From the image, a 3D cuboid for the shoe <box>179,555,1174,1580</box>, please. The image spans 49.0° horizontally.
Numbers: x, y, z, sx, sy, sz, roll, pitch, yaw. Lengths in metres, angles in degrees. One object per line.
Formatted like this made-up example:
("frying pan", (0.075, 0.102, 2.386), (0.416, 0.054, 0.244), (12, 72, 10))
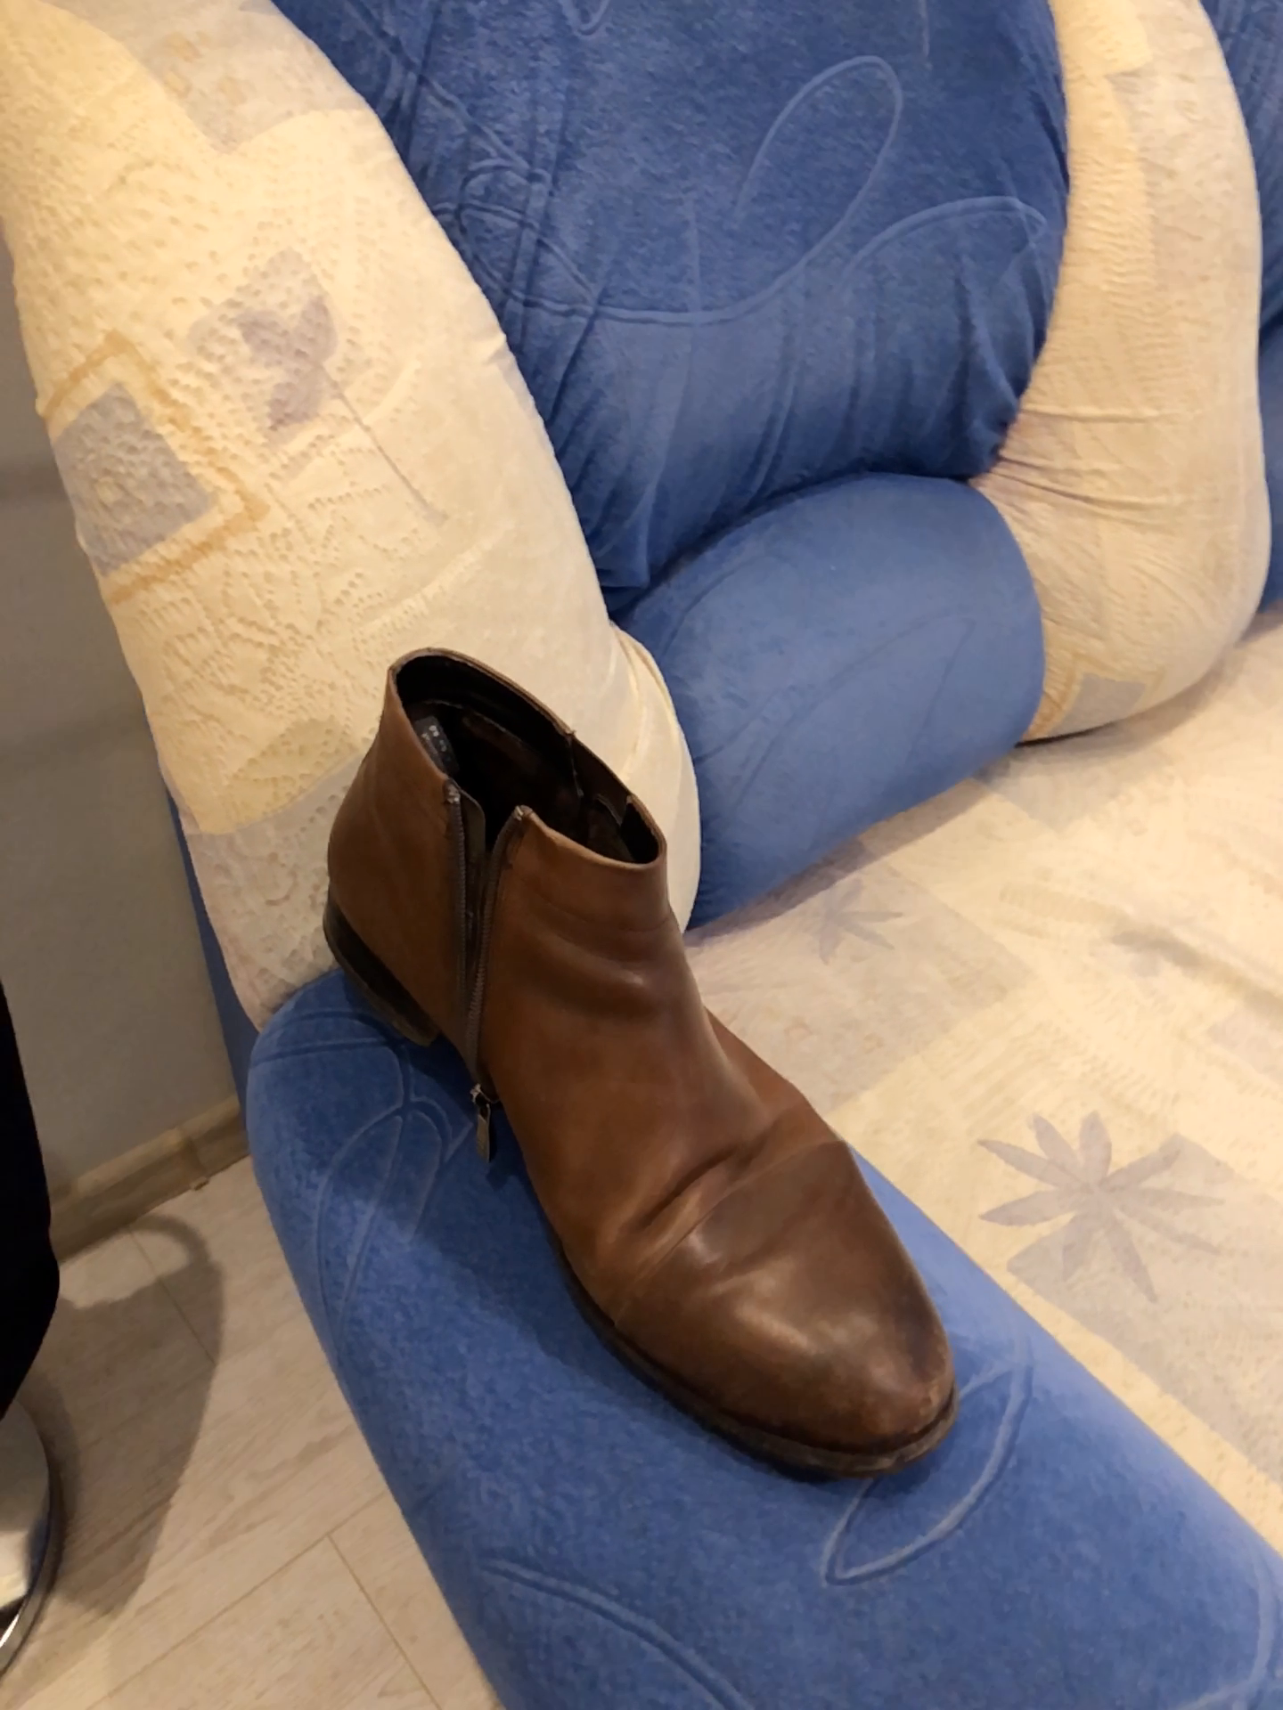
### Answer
("shoe", (-0.013, 0.045, 0.458), (0.110, 0.139, 0.311), (-29, 51, -32))
